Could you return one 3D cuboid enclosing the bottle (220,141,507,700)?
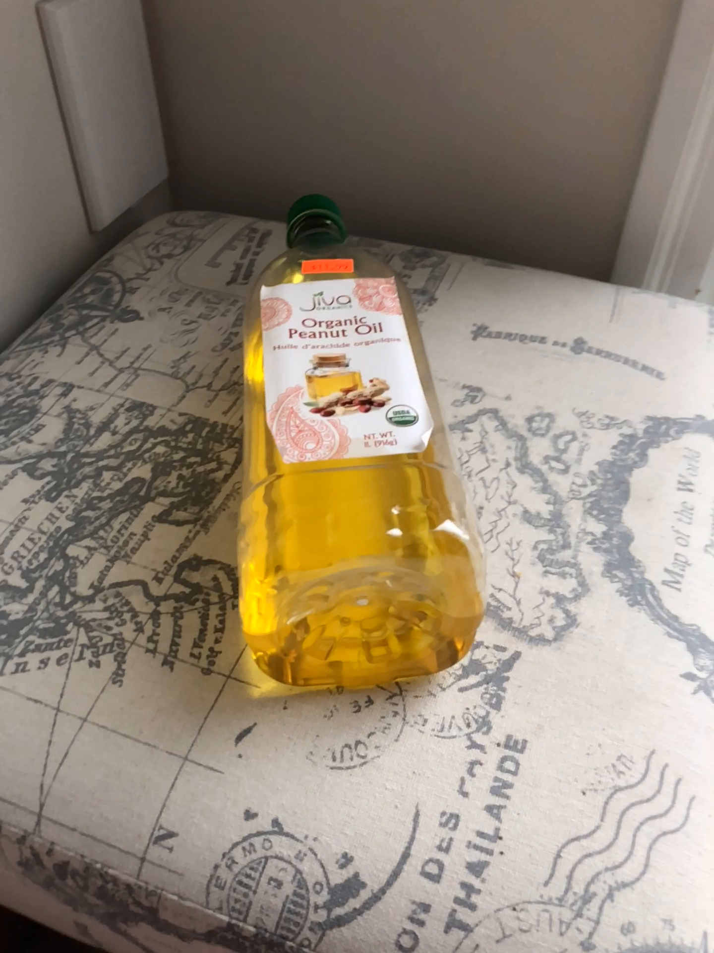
[{"bbox_3d":[-0.012,-0.049,0.339,0.080,0.070,0.271,-4,46,-5],"label":"bottle"}]
